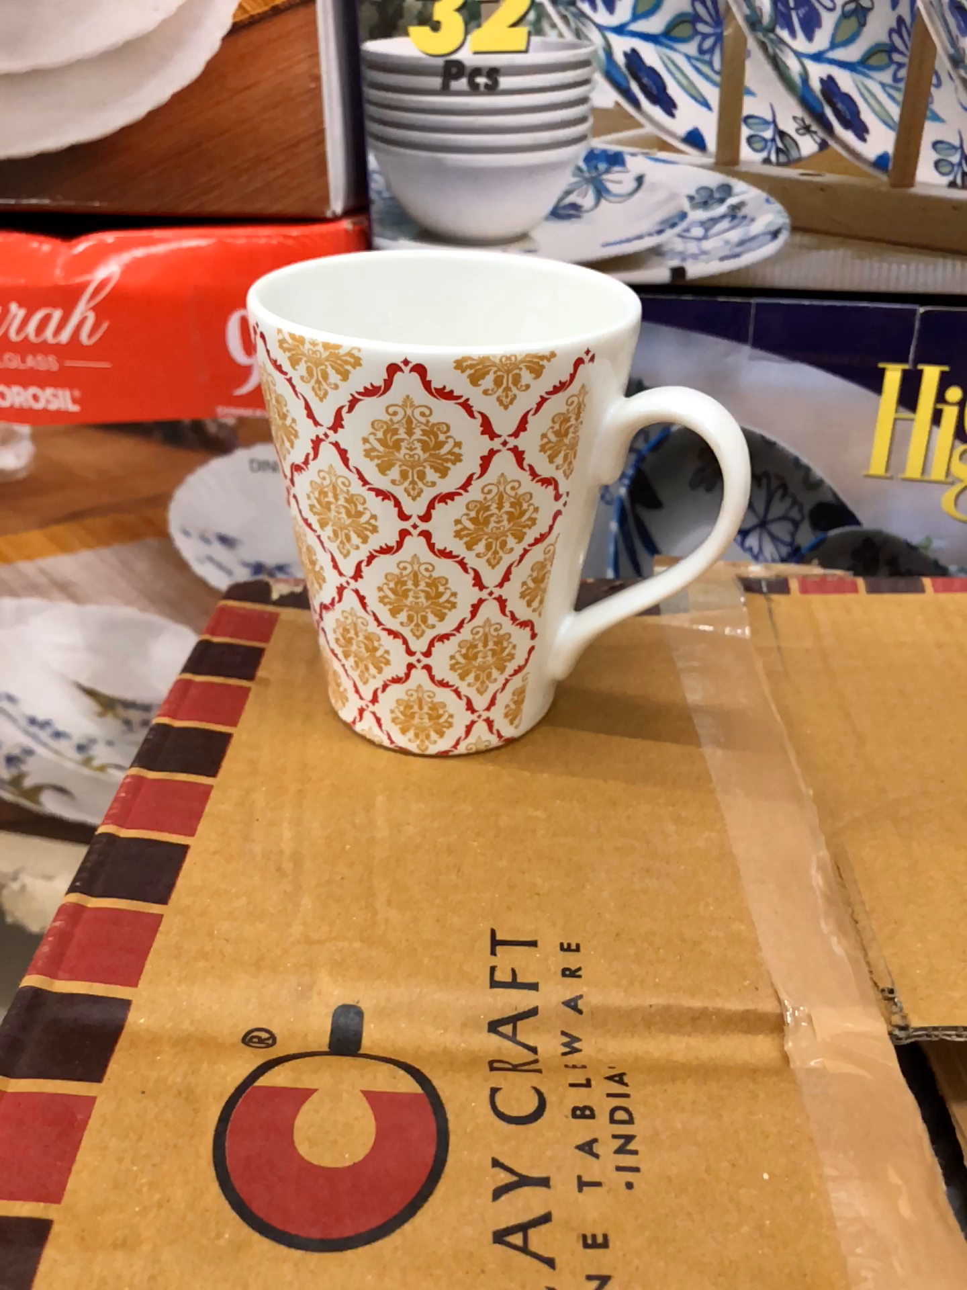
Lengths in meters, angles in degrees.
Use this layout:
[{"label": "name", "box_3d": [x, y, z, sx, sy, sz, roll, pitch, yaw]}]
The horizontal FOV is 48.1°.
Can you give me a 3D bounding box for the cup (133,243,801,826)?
[{"label": "cup", "box_3d": [0.002, -0.035, 0.245, 0.110, 0.089, 0.091, 12, 30, 22]}]
